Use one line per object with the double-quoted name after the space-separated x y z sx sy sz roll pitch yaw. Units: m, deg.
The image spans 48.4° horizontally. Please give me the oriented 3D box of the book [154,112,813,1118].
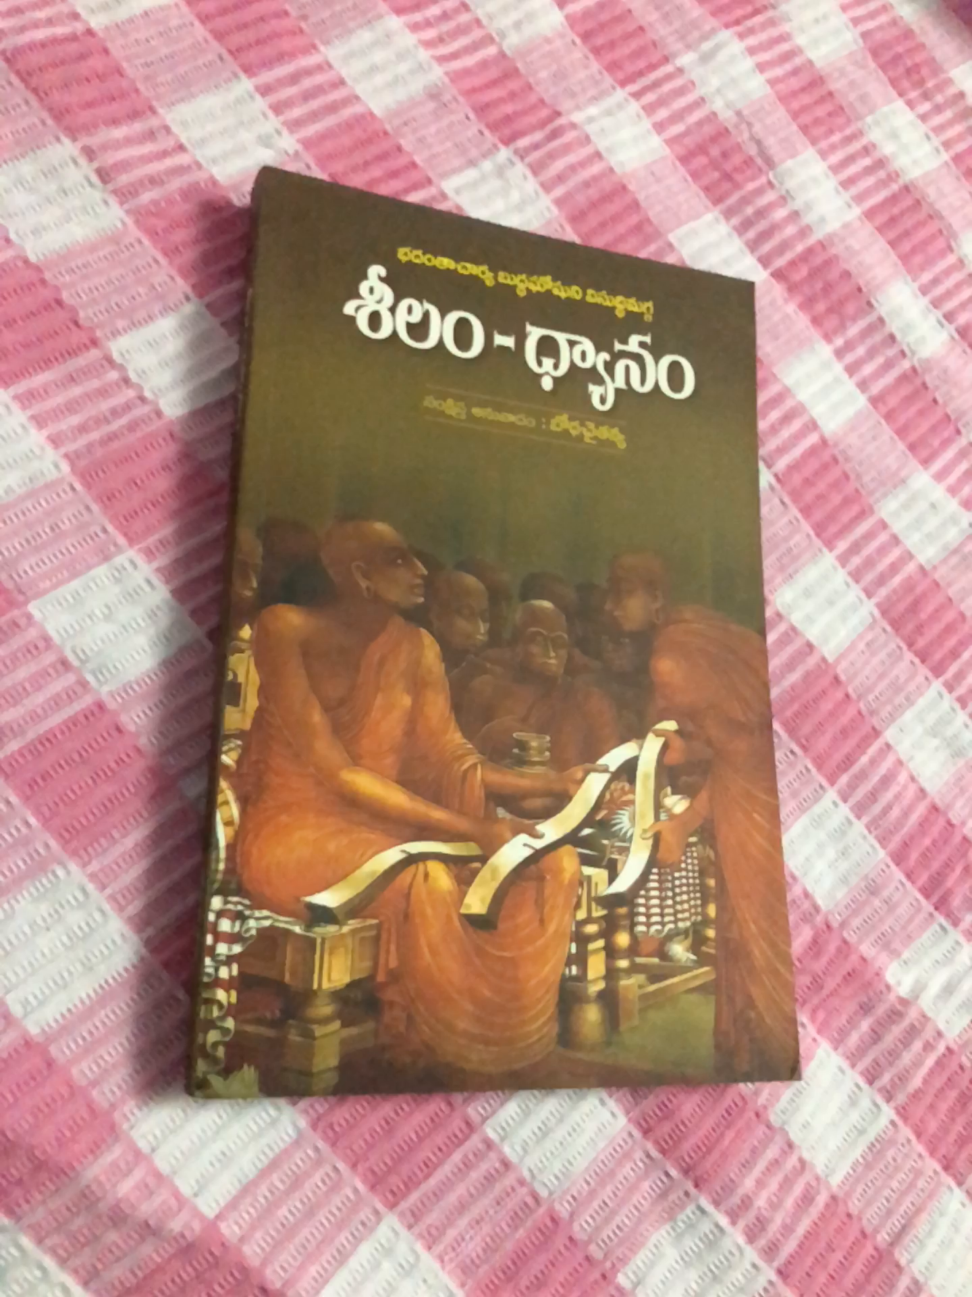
0.007 -0.008 0.252 0.140 0.020 0.210 7 75 -20 "book"
